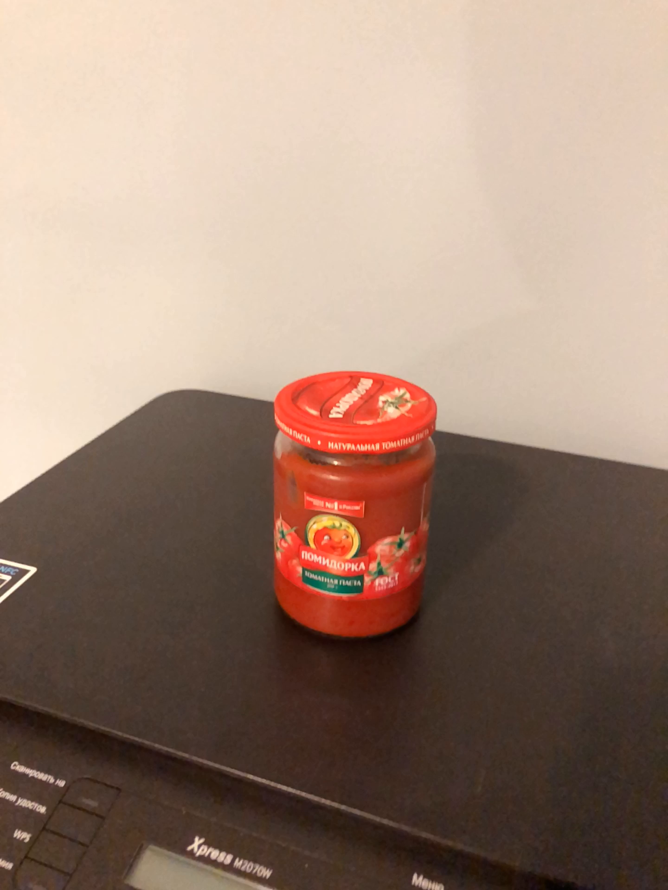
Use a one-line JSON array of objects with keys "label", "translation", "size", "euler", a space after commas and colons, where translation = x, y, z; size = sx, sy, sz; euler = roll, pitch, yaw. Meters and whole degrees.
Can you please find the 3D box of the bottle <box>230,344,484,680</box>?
[{"label": "bottle", "translation": [0.009, 0.025, 0.328], "size": [0.080, 0.109, 0.070], "euler": [17, 30, 27]}]
